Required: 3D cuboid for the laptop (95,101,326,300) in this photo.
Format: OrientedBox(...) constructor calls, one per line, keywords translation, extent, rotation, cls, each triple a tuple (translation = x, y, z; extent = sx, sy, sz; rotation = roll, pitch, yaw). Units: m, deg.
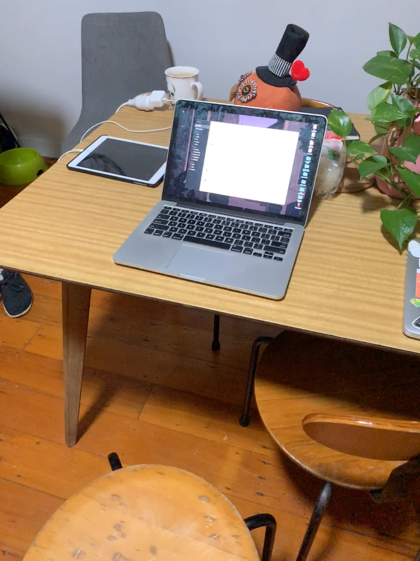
OrientedBox(translation=(0.020, -0.147, 0.671), extent=(0.263, 0.144, 0.288), rotation=(13, 42, 15), cls="laptop")
